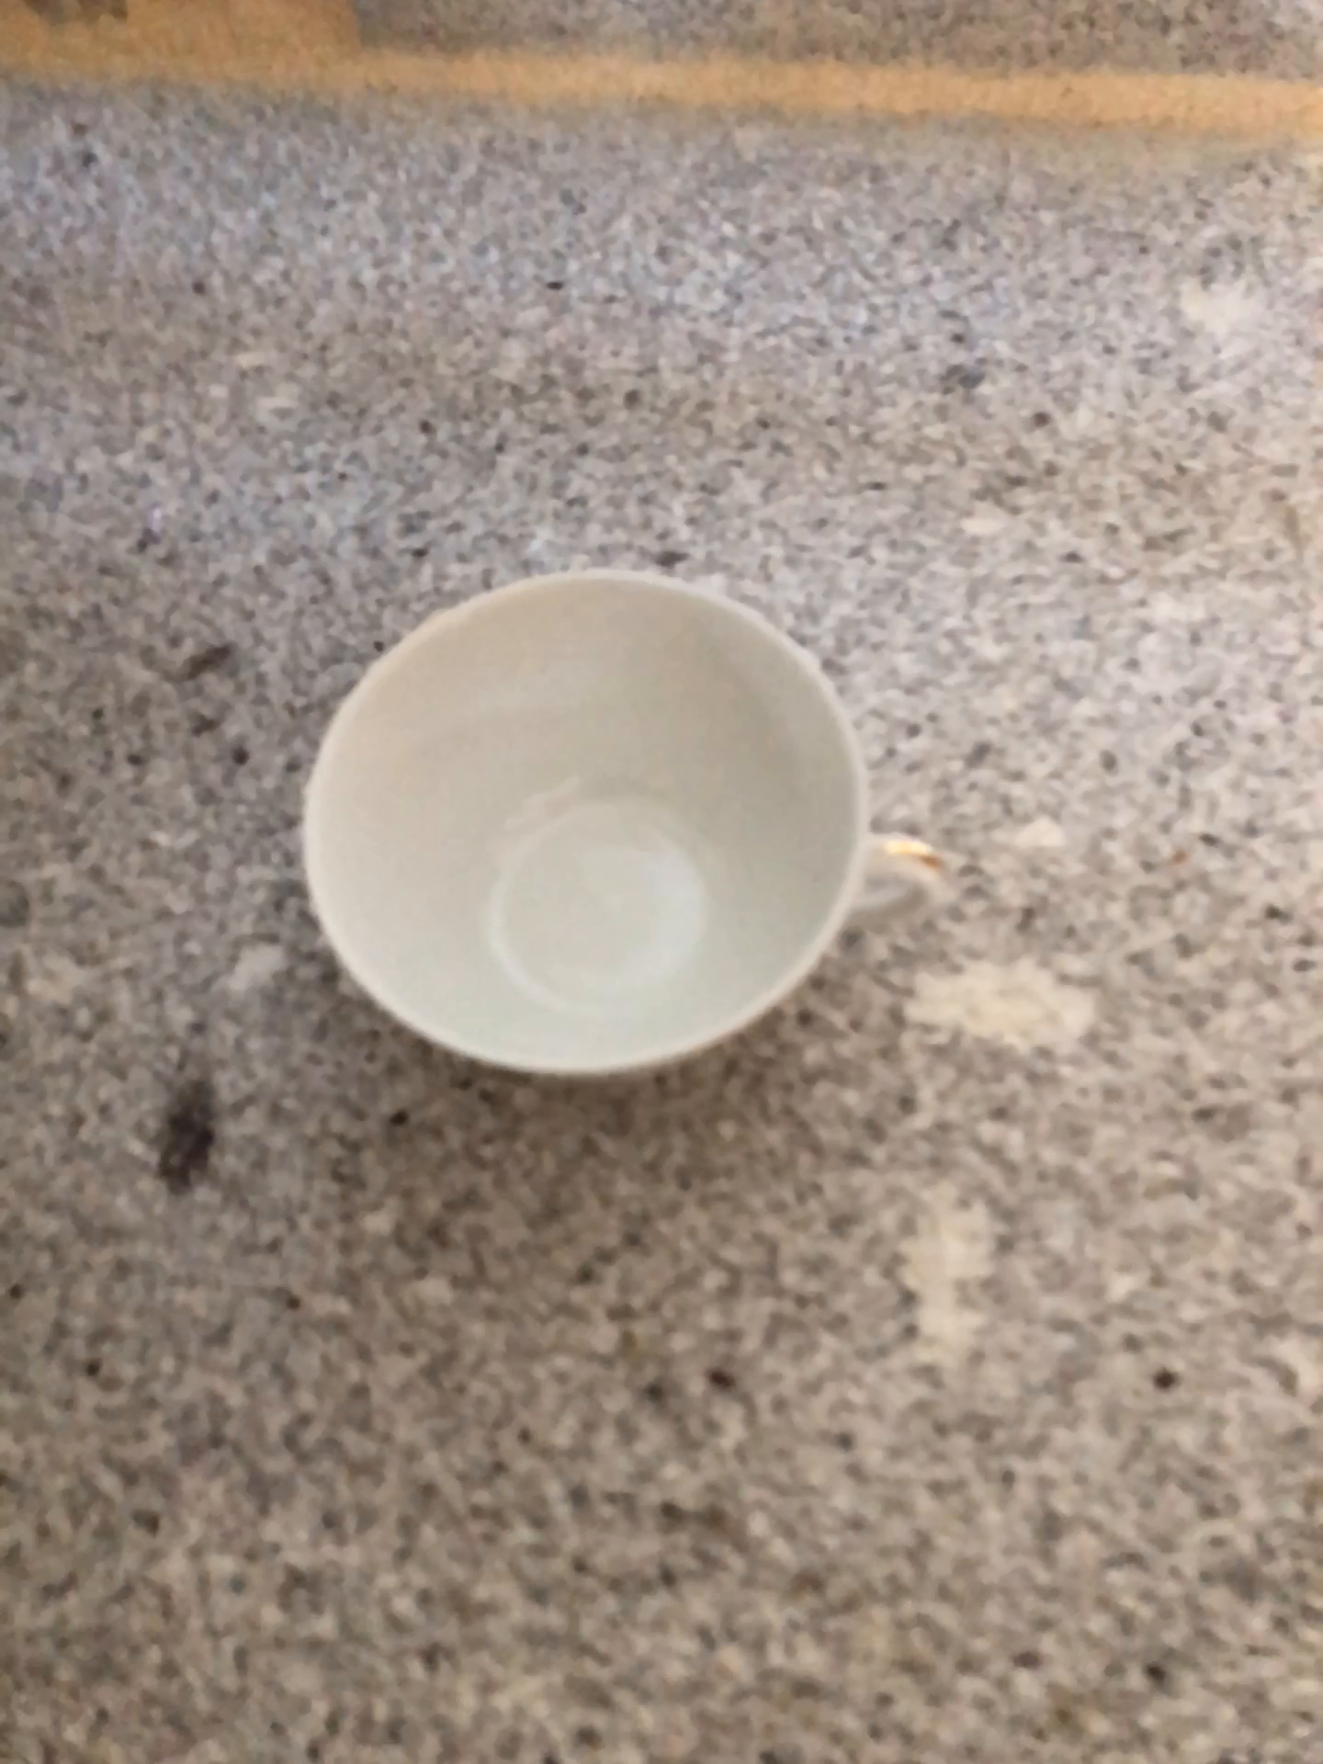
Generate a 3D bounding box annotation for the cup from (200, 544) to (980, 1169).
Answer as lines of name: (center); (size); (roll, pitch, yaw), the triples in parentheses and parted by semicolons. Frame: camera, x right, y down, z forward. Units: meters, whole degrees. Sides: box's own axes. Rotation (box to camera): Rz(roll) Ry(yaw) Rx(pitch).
cup: (-0.011, -0.004, 0.240); (0.110, 0.040, 0.090); (-3, 64, 1)
